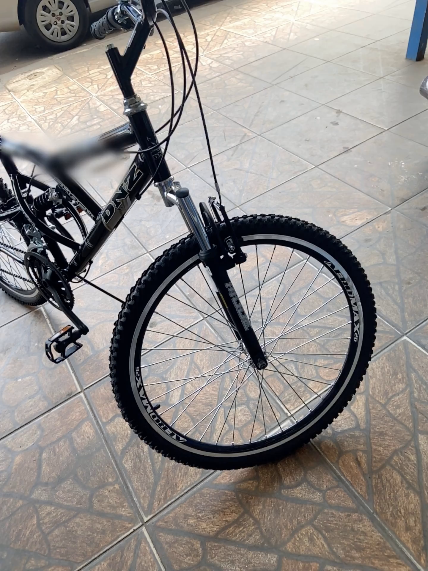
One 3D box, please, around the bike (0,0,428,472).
[{"bbox_3d":[-0.414,-0.301,1.143,1.586,1.154,0.606,13,51,26],"label":"bike"}]
